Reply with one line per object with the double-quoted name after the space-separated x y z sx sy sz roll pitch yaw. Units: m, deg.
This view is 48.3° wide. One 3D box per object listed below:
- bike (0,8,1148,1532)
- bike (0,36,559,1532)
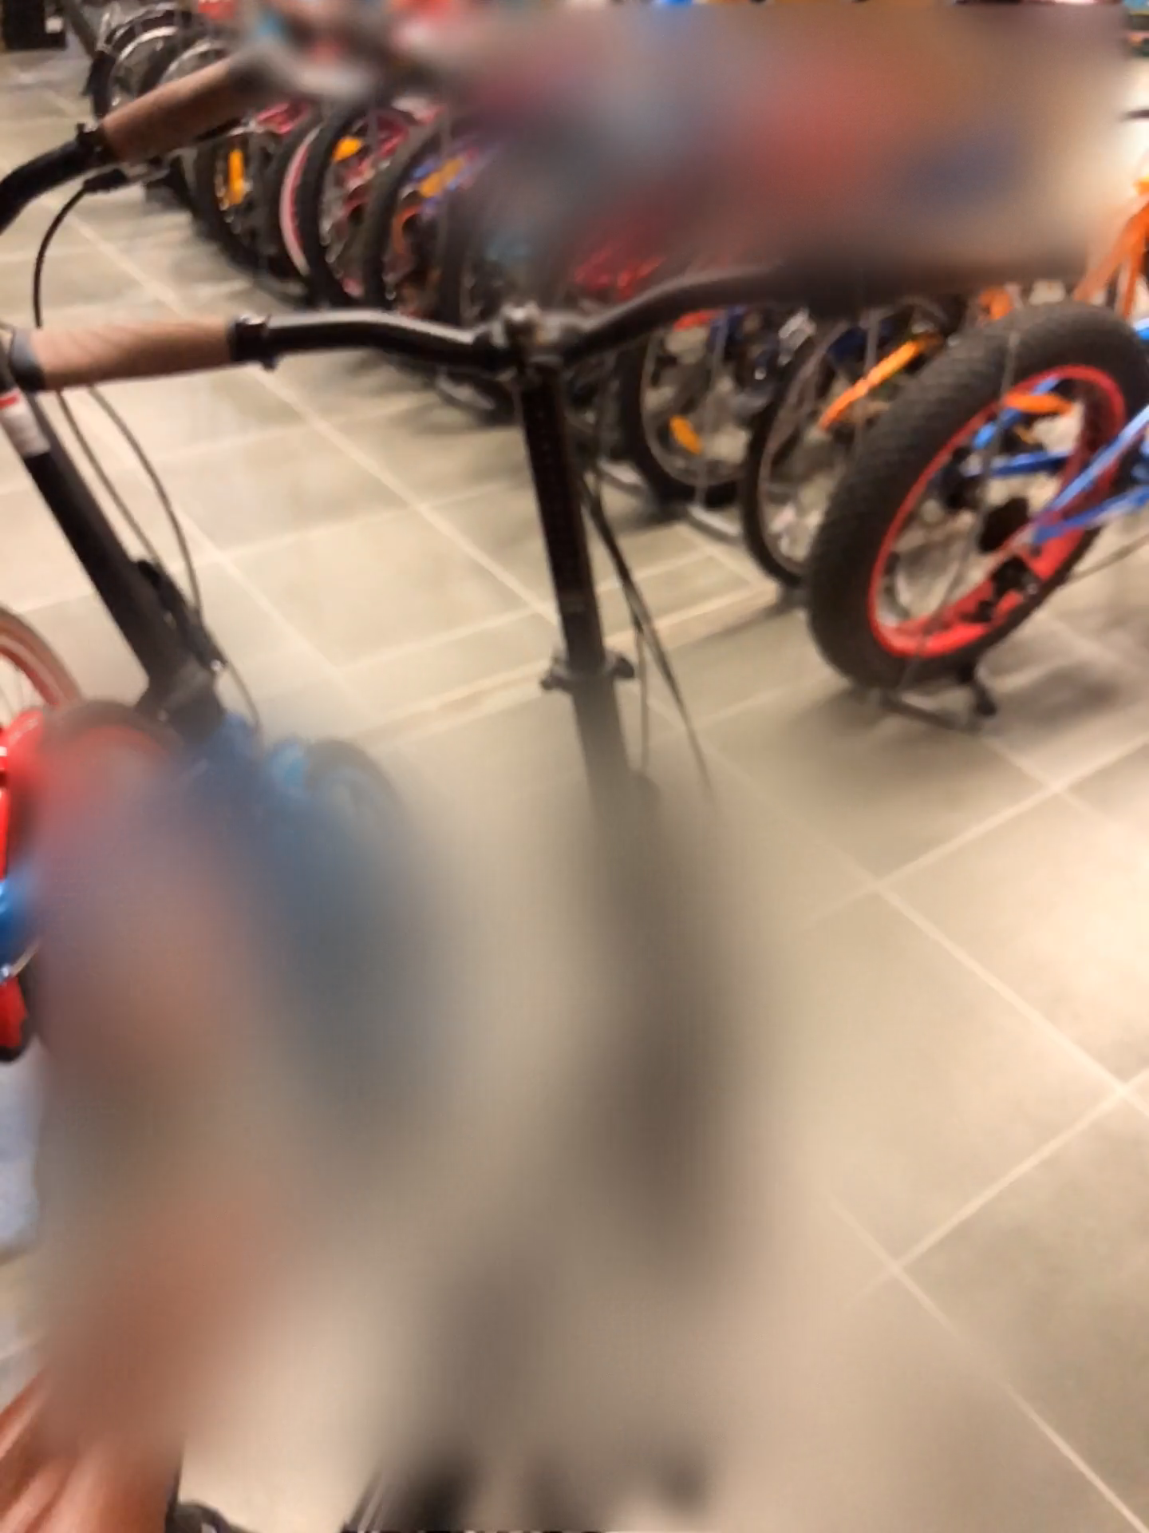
-0.099 0.275 0.766 0.564 1.057 1.279 16 39 12 "bike"
-0.641 0.126 0.938 0.567 1.029 1.379 23 39 20 "bike"
